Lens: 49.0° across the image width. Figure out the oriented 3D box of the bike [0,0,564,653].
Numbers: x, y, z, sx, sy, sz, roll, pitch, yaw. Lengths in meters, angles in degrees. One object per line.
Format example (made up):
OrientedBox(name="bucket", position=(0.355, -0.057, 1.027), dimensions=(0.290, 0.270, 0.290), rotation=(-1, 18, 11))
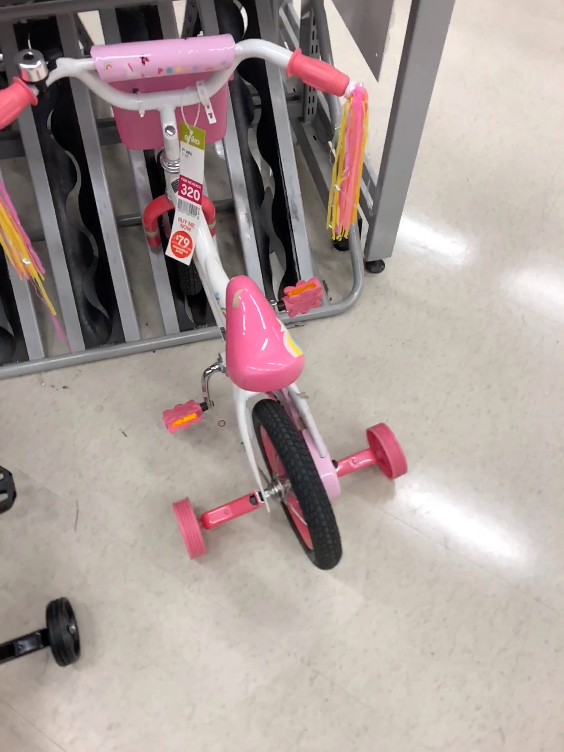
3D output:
OrientedBox(name="bike", position=(-0.114, -0.188, 0.987), dimensions=(0.515, 0.592, 0.946), rotation=(-20, 62, -13))
